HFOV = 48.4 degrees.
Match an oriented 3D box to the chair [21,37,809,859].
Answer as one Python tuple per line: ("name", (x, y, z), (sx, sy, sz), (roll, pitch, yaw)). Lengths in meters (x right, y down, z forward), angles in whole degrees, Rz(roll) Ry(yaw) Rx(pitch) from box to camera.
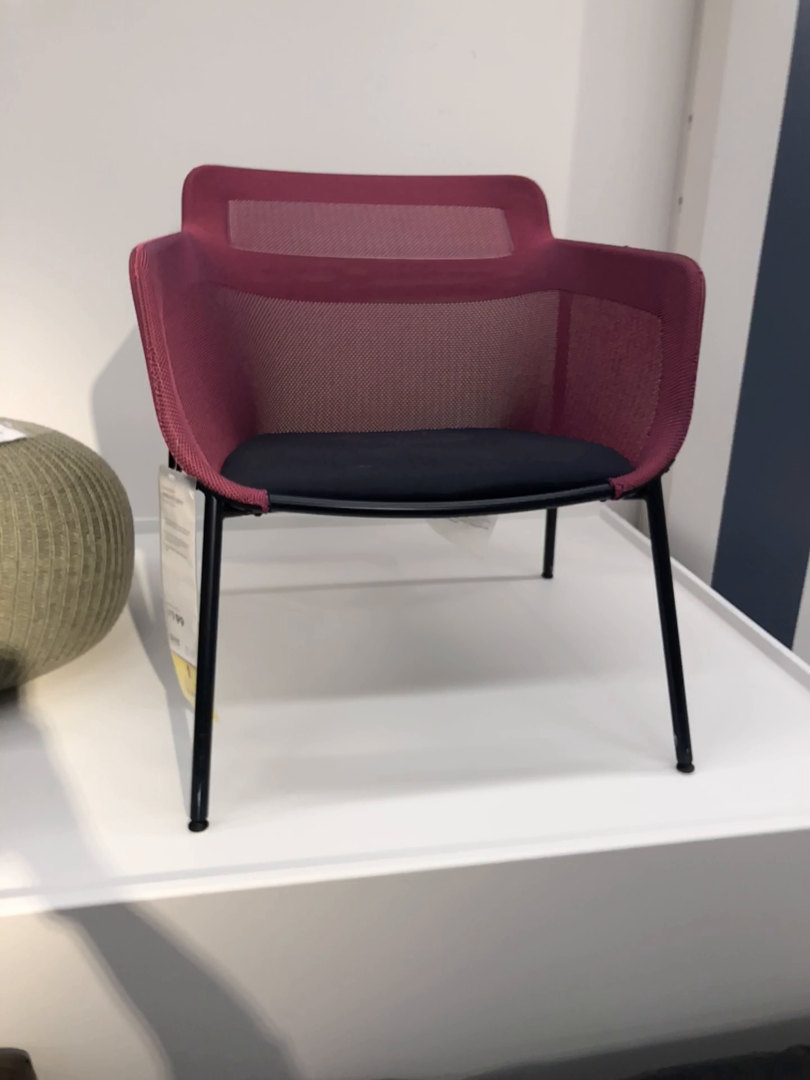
("chair", (-0.030, -0.216, 1.350), (0.780, 0.747, 1.013), (-3, 20, -13))
